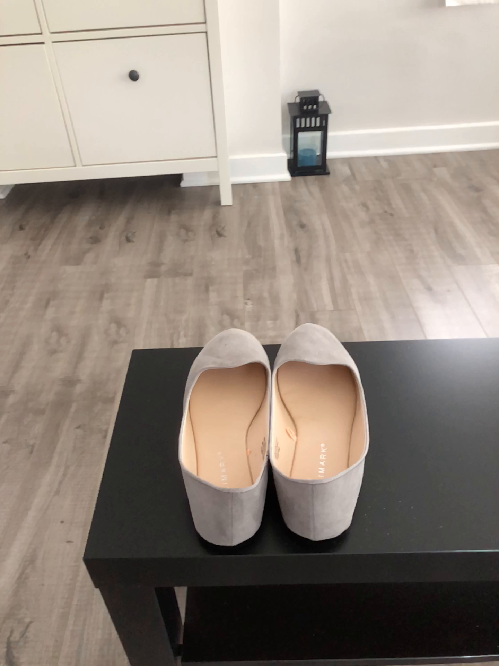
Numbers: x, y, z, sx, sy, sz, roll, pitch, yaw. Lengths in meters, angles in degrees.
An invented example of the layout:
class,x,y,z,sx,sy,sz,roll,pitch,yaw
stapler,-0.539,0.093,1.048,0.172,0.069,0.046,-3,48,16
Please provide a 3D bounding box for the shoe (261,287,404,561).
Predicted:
class,x,y,z,sx,sy,sz,roll,pitch,yaw
shoe,0.063,0.068,0.511,0.100,0.090,0.254,-1,39,3

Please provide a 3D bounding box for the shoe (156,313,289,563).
class,x,y,z,sx,sy,sz,roll,pitch,yaw
shoe,-0.023,0.083,0.528,0.100,0.060,0.251,-3,39,0
